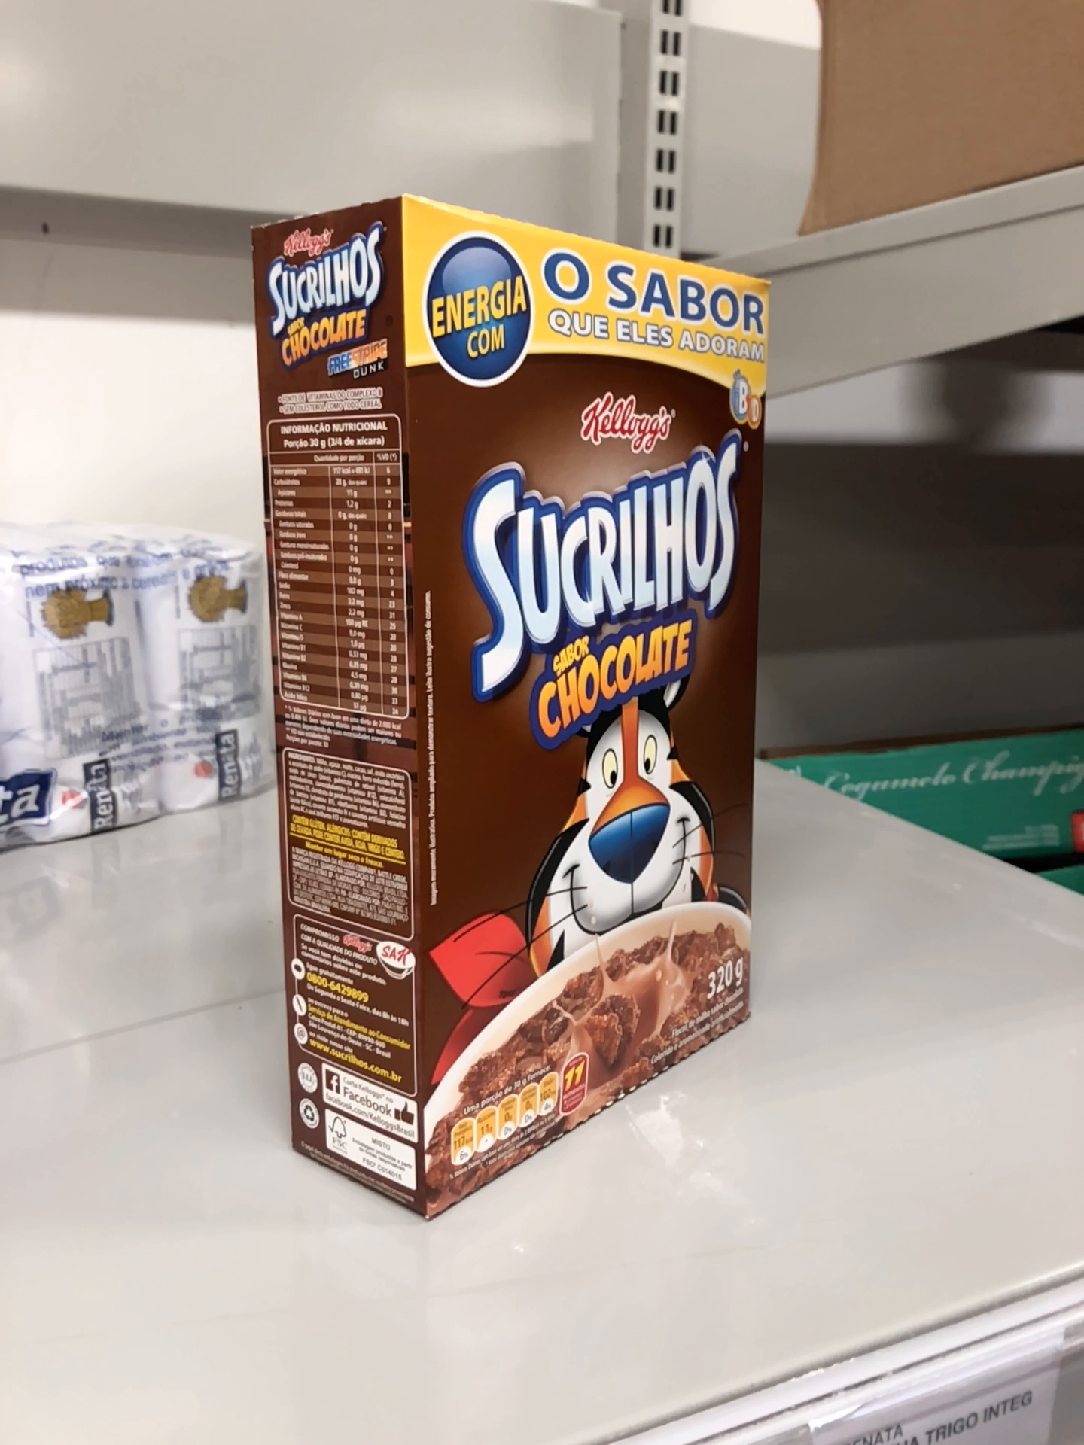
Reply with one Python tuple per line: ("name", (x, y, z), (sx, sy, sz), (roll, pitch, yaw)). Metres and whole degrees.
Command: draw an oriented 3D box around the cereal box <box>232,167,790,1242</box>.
("cereal box", (0.002, -0.012, 0.387), (0.070, 0.269, 0.181), (8, 13, 37))
